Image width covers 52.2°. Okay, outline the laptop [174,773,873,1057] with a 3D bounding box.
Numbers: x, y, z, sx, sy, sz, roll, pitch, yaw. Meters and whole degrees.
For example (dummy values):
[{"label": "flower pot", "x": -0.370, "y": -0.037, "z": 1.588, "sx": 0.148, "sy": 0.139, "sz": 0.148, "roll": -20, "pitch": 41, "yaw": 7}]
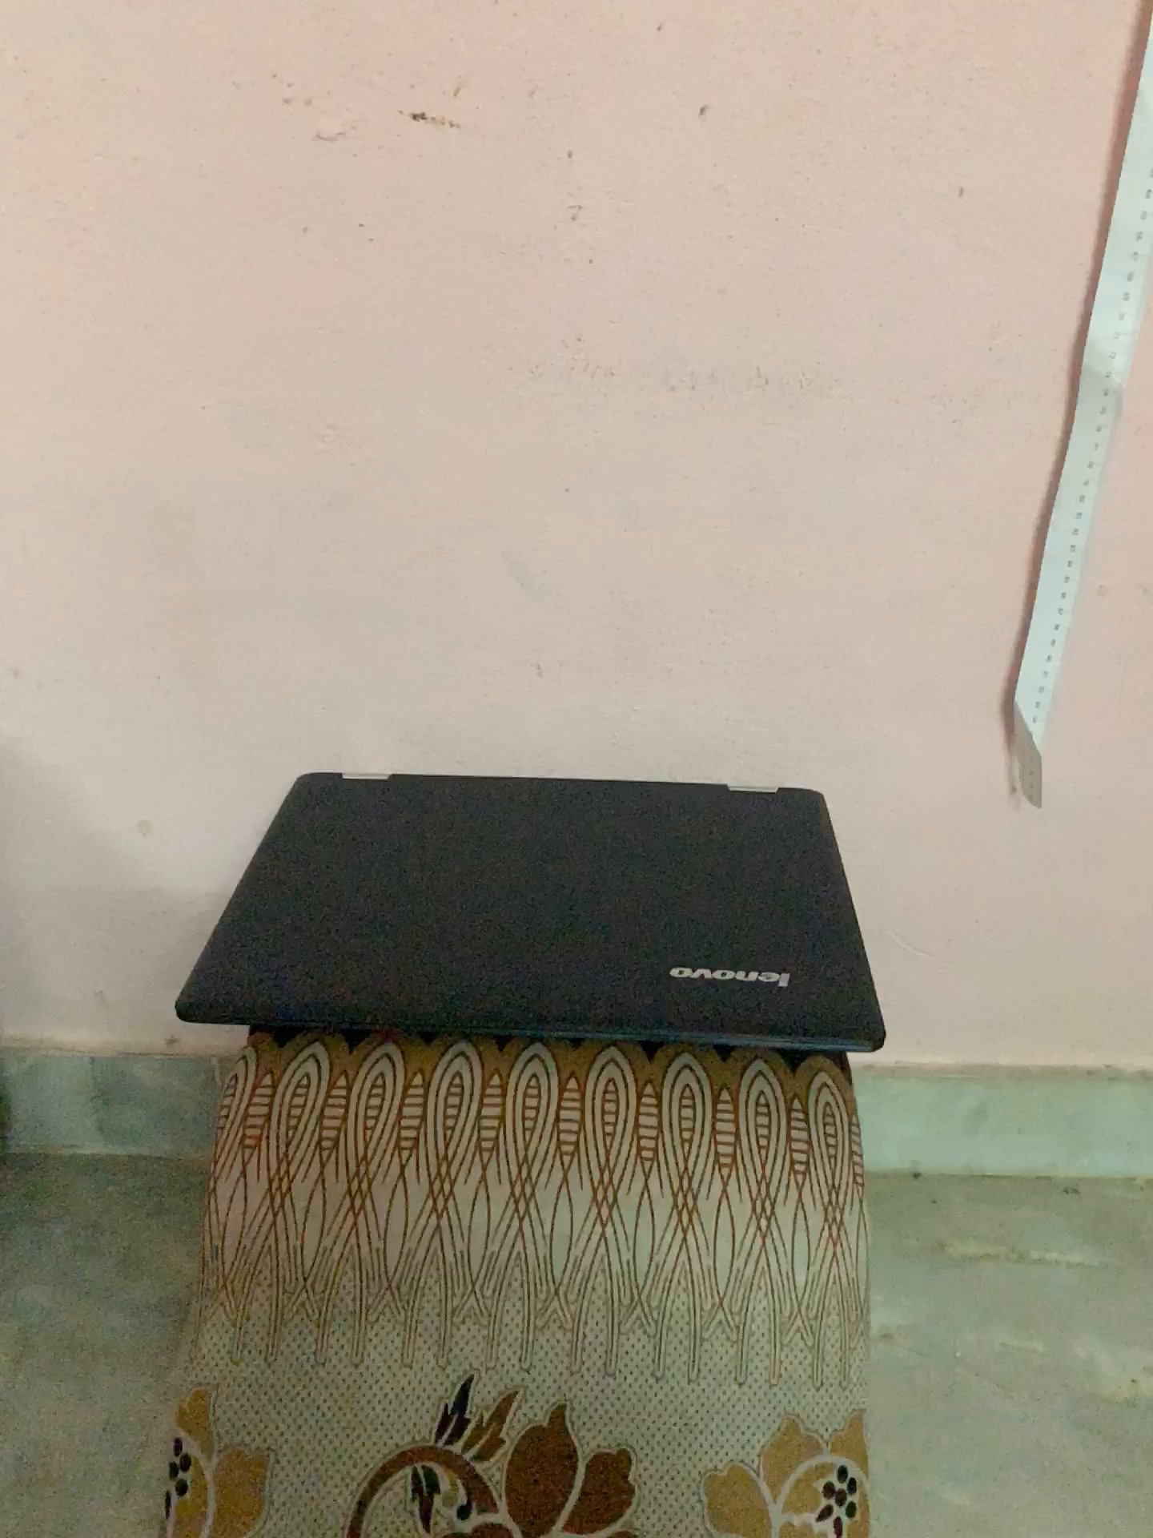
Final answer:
[{"label": "laptop", "x": -0.018, "y": 0.065, "z": 0.620, "sx": 0.312, "sy": 0.012, "sz": 0.214, "roll": 2, "pitch": 30, "yaw": 2}]
